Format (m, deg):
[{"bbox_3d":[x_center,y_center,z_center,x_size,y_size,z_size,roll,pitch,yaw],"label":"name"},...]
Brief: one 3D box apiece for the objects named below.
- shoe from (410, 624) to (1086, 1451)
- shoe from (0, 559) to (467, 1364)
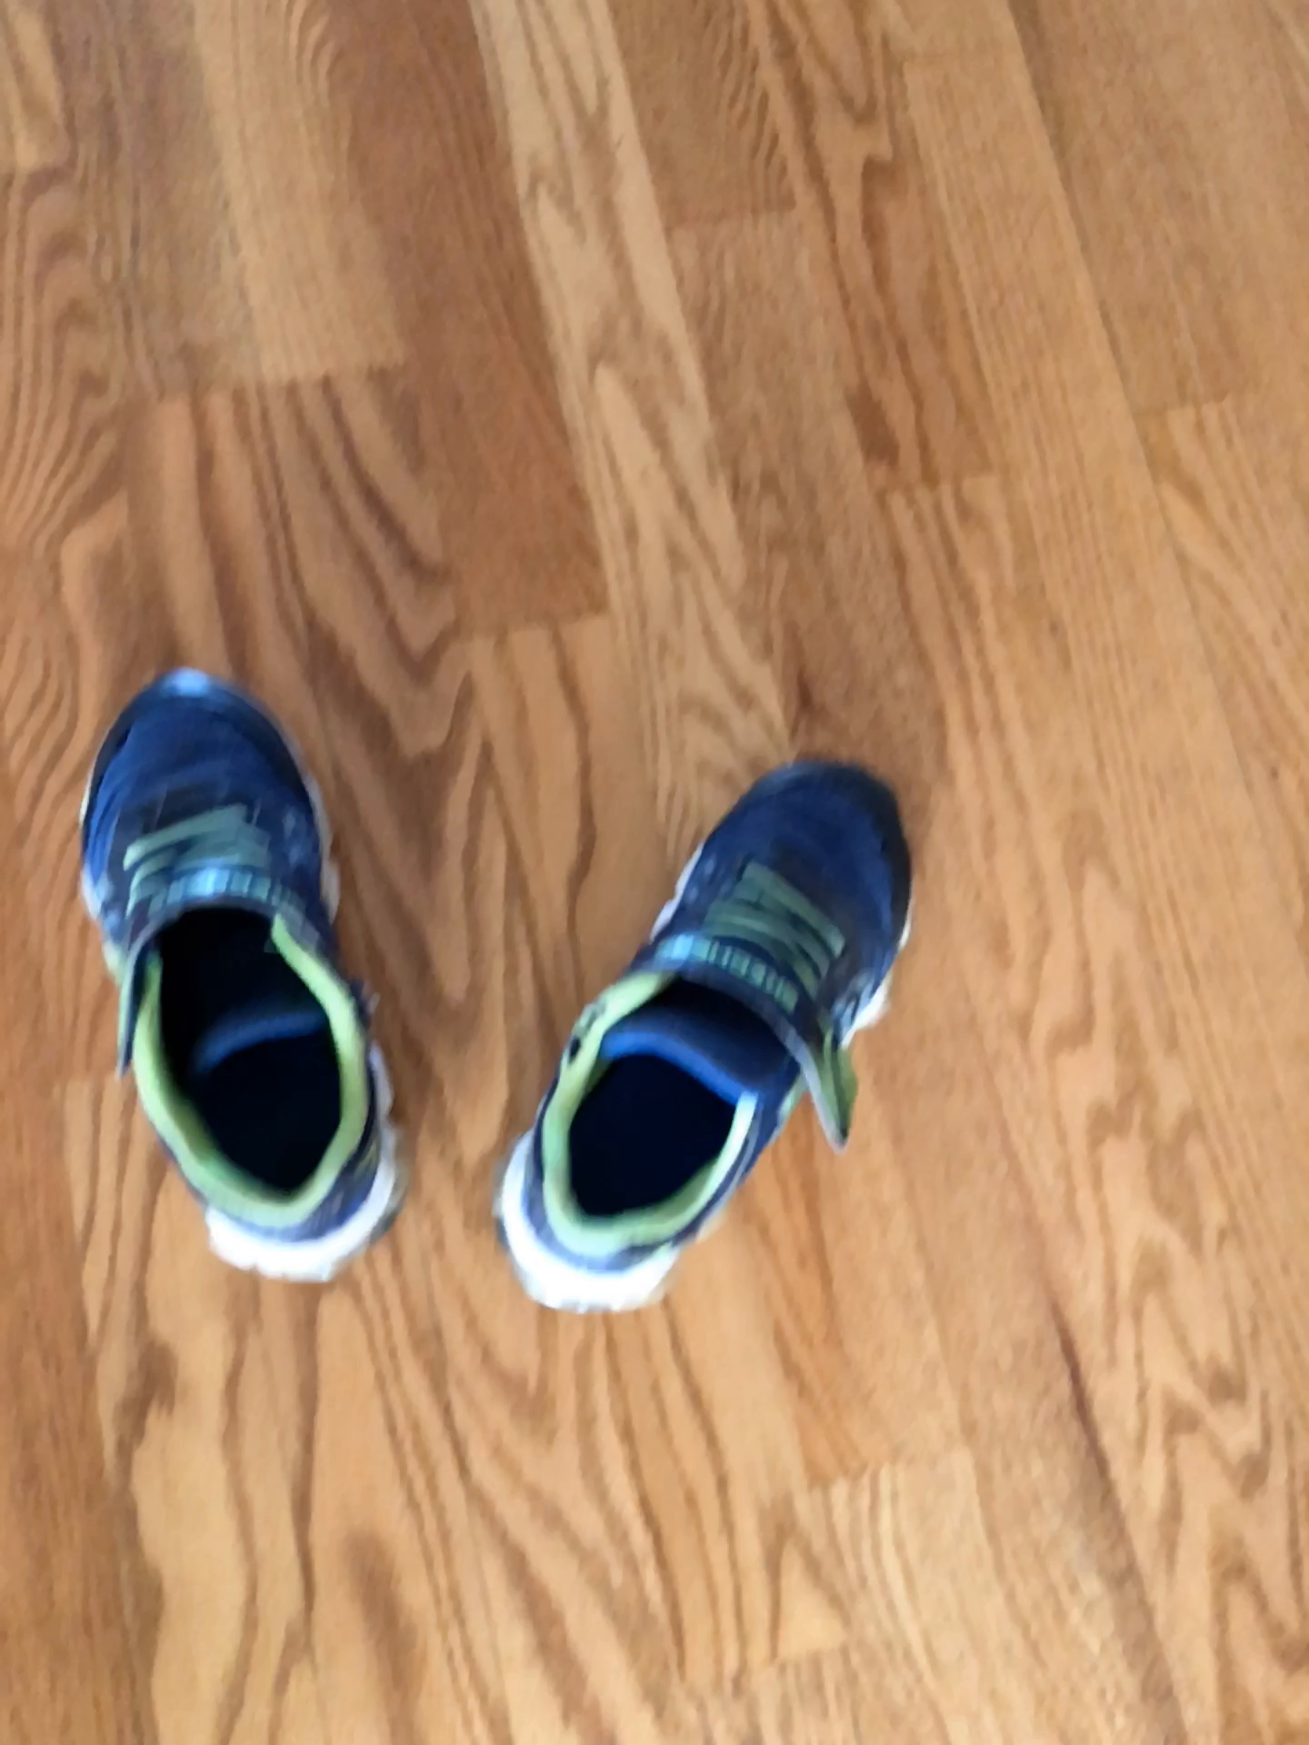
[{"bbox_3d":[0.028,0.048,0.440,0.093,0.087,0.212,32,77,3],"label":"shoe"},{"bbox_3d":[-0.132,0.027,0.436,0.093,0.095,0.203,-16,80,-8],"label":"shoe"}]
